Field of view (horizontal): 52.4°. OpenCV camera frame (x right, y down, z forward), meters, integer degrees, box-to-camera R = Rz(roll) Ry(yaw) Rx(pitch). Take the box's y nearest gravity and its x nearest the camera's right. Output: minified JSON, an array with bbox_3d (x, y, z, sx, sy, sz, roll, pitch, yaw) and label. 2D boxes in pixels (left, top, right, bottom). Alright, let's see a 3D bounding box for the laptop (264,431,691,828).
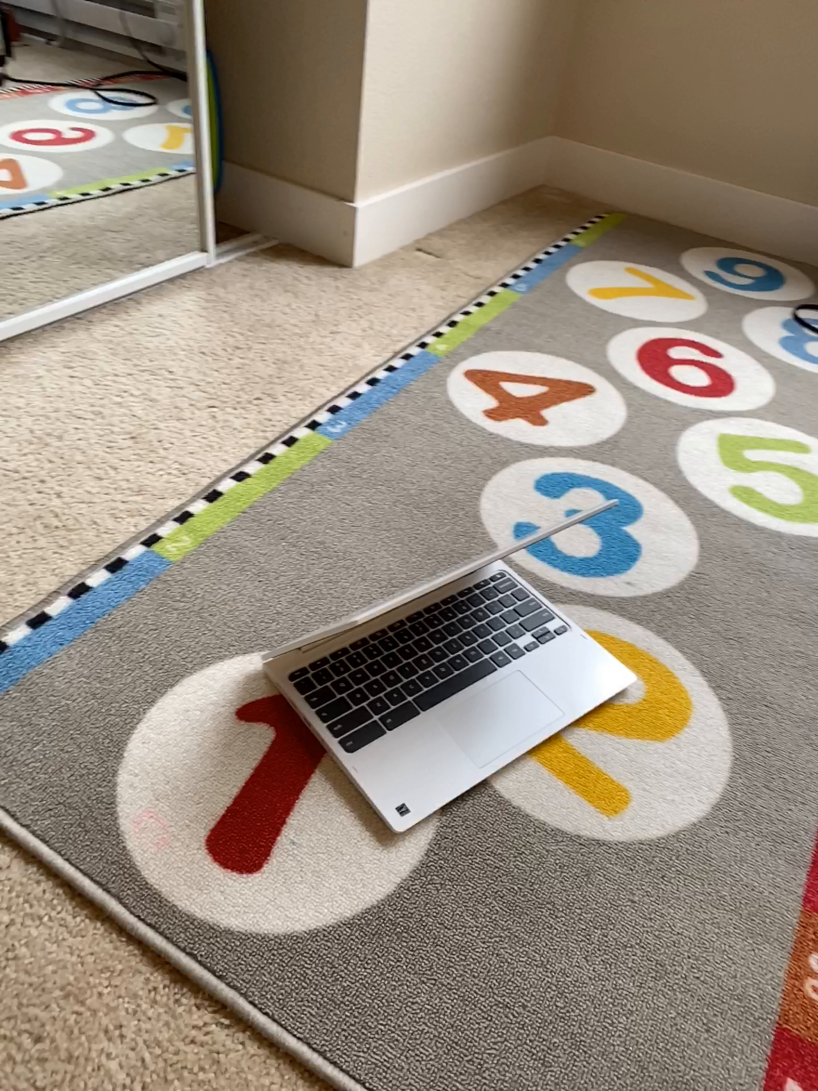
[{"bbox_3d":[0.053,0.053,0.748,0.294,0.164,0.217,-23,47,-33],"label":"laptop"}]
